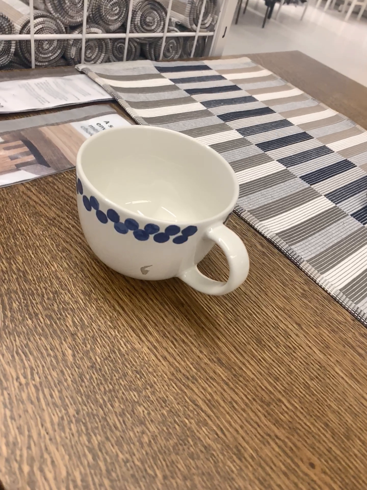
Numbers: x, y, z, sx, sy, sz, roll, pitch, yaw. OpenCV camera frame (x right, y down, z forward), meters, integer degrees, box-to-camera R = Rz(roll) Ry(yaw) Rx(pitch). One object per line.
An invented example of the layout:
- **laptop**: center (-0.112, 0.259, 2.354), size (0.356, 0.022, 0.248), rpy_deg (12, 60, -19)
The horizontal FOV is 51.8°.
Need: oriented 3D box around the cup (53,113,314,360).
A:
- **cup**: center (-0.008, -0.017, 0.250), size (0.100, 0.070, 0.130), rpy_deg (-24, 57, -36)
